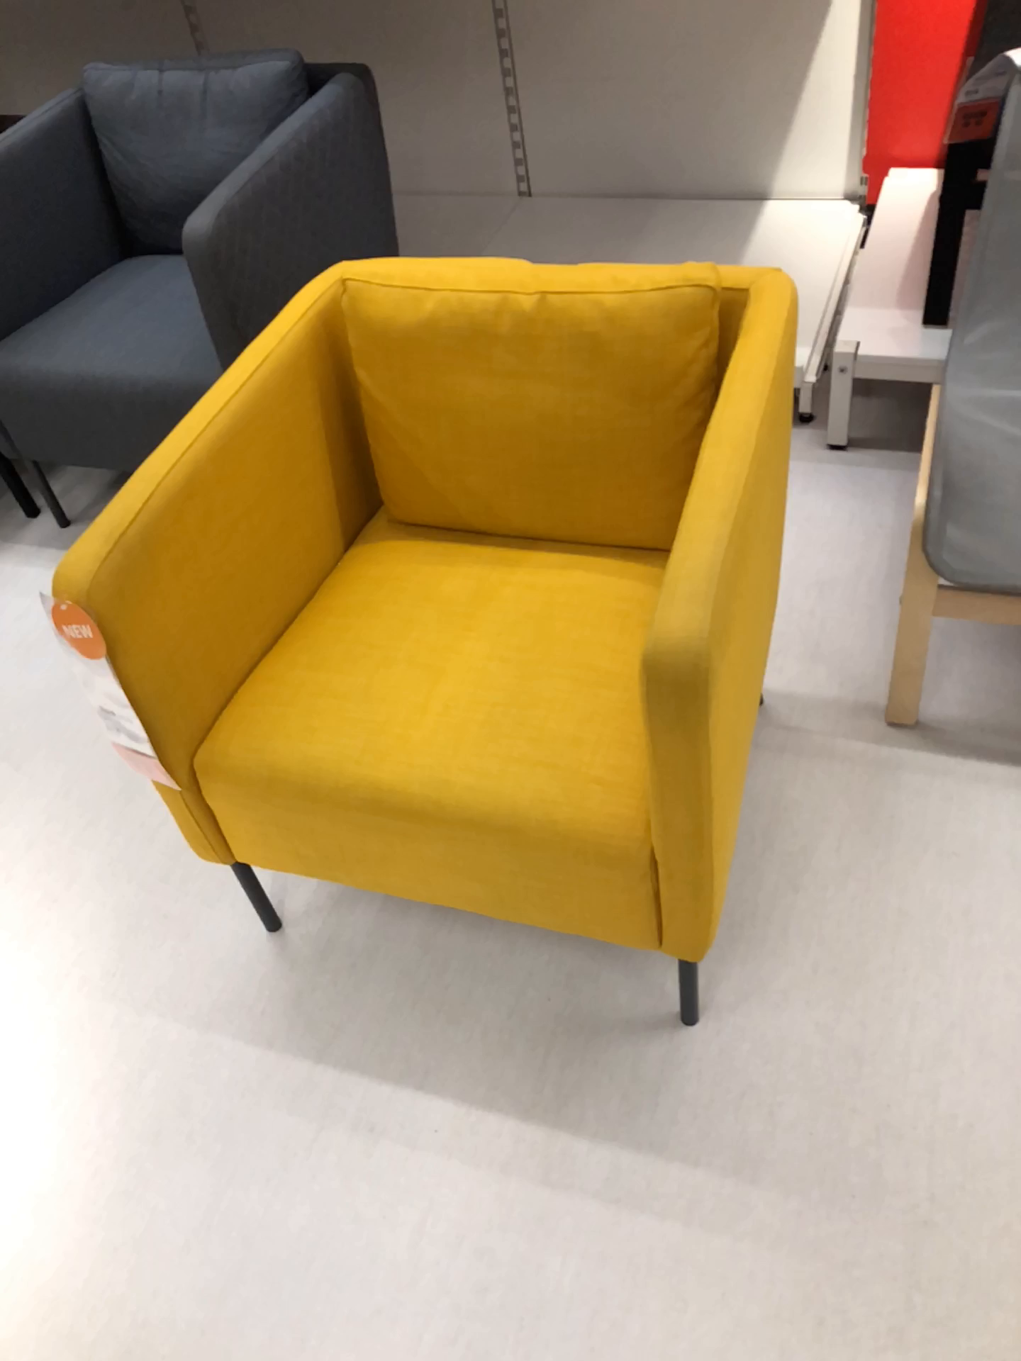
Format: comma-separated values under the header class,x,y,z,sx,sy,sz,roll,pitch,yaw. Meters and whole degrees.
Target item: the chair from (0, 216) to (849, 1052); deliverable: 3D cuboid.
class,x,y,z,sx,sy,sz,roll,pitch,yaw
chair,-0.016,-0.087,1.385,0.721,0.696,0.663,8,48,18
